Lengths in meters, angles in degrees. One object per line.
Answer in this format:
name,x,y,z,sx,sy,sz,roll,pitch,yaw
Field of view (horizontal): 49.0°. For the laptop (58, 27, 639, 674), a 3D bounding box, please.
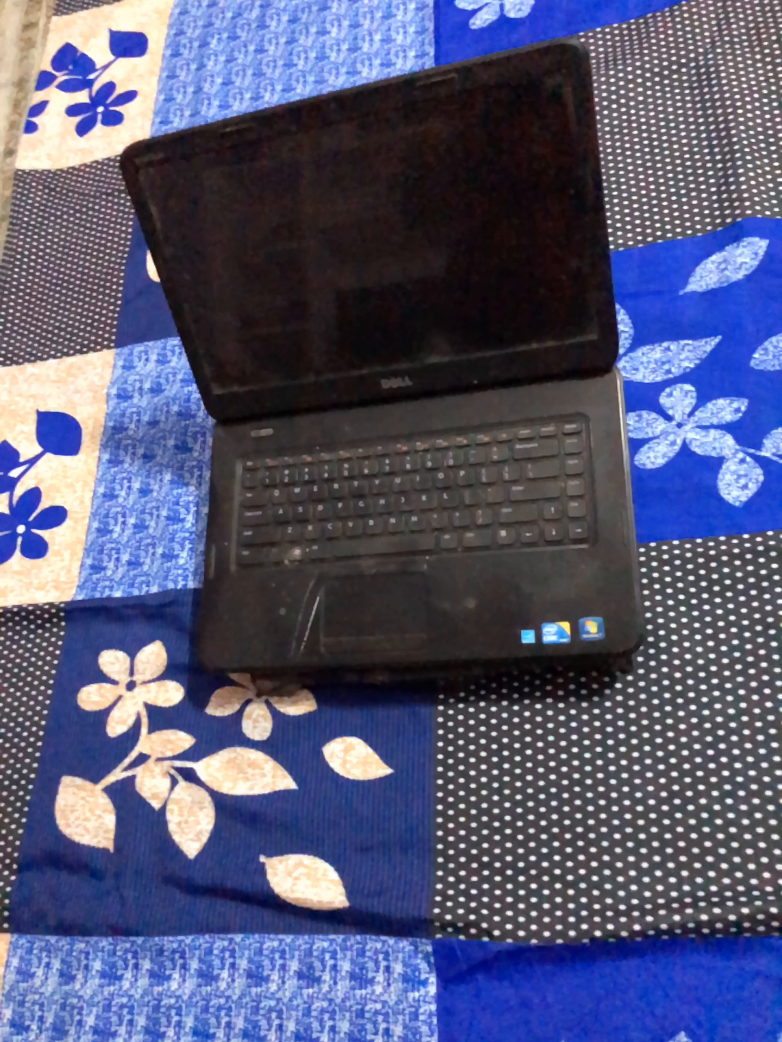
laptop,-0.015,-0.108,0.665,0.363,0.187,0.390,-6,69,15
